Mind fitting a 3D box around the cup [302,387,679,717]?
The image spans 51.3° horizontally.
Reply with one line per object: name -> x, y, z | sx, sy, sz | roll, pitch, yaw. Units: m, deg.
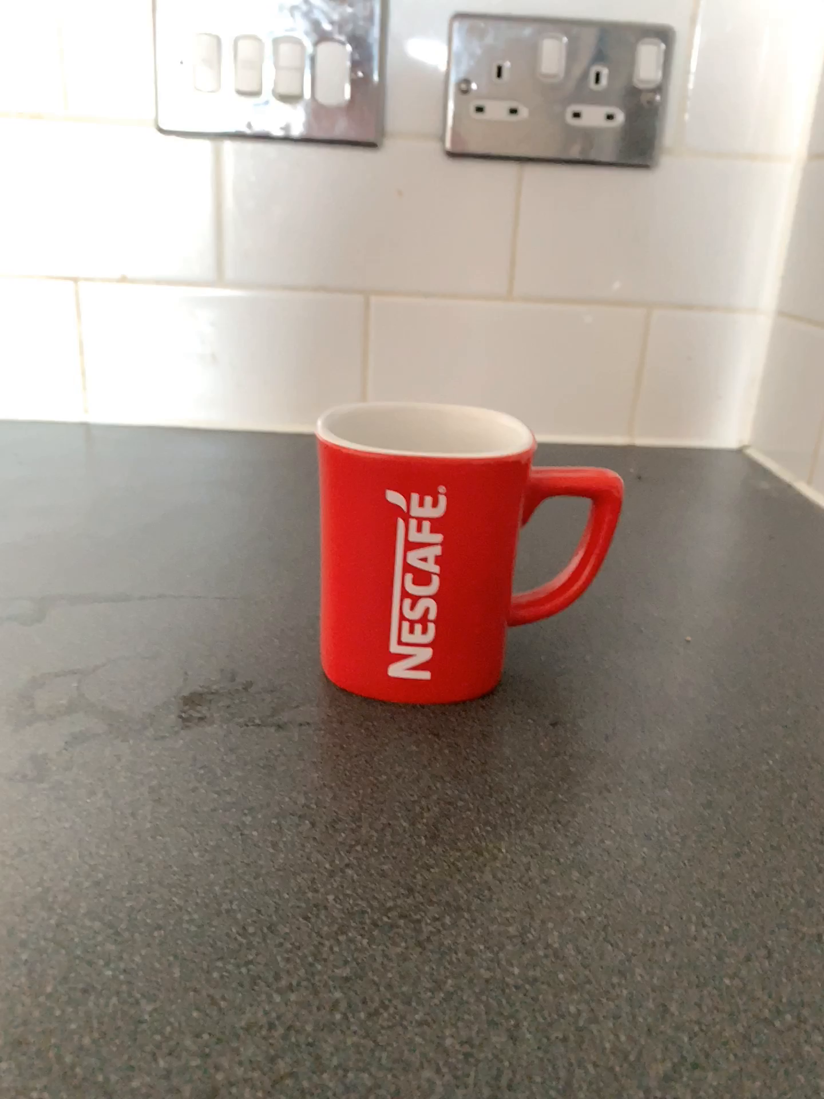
cup -> 0.022, -0.002, 0.303 | 0.112, 0.092, 0.067 | 3, 21, 0
